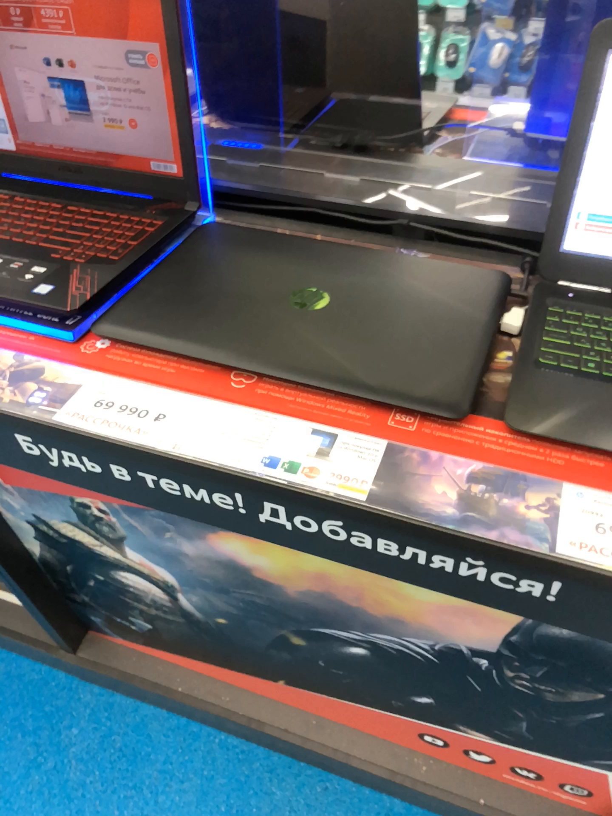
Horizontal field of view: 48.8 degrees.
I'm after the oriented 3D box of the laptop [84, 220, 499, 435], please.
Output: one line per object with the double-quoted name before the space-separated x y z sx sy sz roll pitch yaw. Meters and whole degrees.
"laptop" -0.006 -0.103 0.694 0.365 0.012 0.233 15 45 16
